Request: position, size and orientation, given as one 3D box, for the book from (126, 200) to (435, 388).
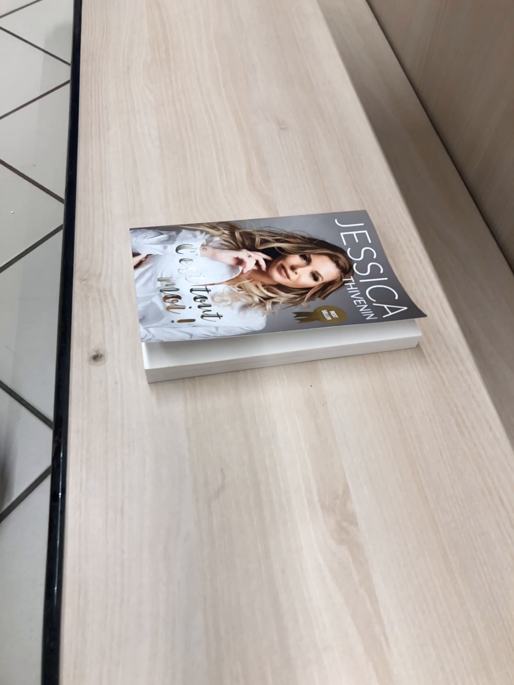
[{"bbox_3d":[0.012,-0.046,0.441,0.212,0.020,0.146,-7,56,-10],"label":"book"}]
